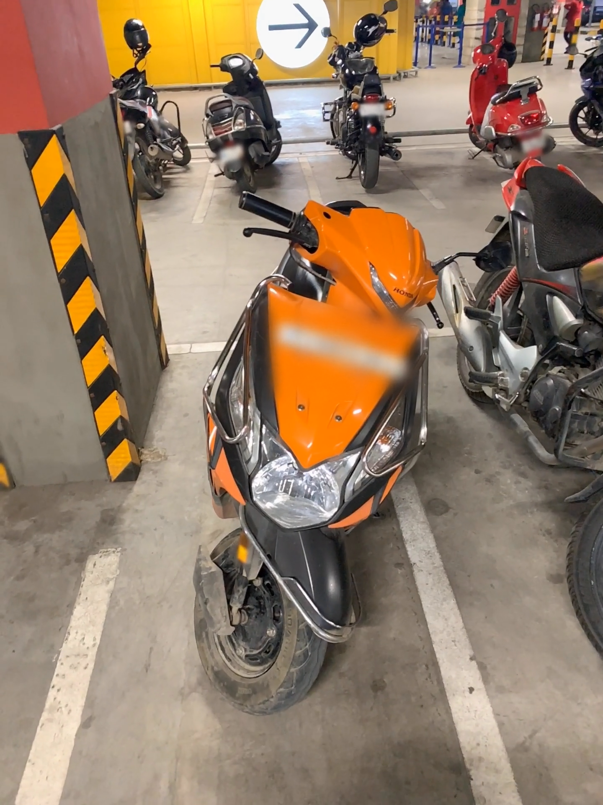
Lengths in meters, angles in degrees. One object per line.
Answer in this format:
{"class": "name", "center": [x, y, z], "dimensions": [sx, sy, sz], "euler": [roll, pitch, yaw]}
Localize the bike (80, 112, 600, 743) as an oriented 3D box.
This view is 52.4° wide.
{"class": "bike", "center": [0.167, -0.110, 1.844], "dimensions": [0.724, 1.172, 1.613], "euler": [1, 32, 6]}
